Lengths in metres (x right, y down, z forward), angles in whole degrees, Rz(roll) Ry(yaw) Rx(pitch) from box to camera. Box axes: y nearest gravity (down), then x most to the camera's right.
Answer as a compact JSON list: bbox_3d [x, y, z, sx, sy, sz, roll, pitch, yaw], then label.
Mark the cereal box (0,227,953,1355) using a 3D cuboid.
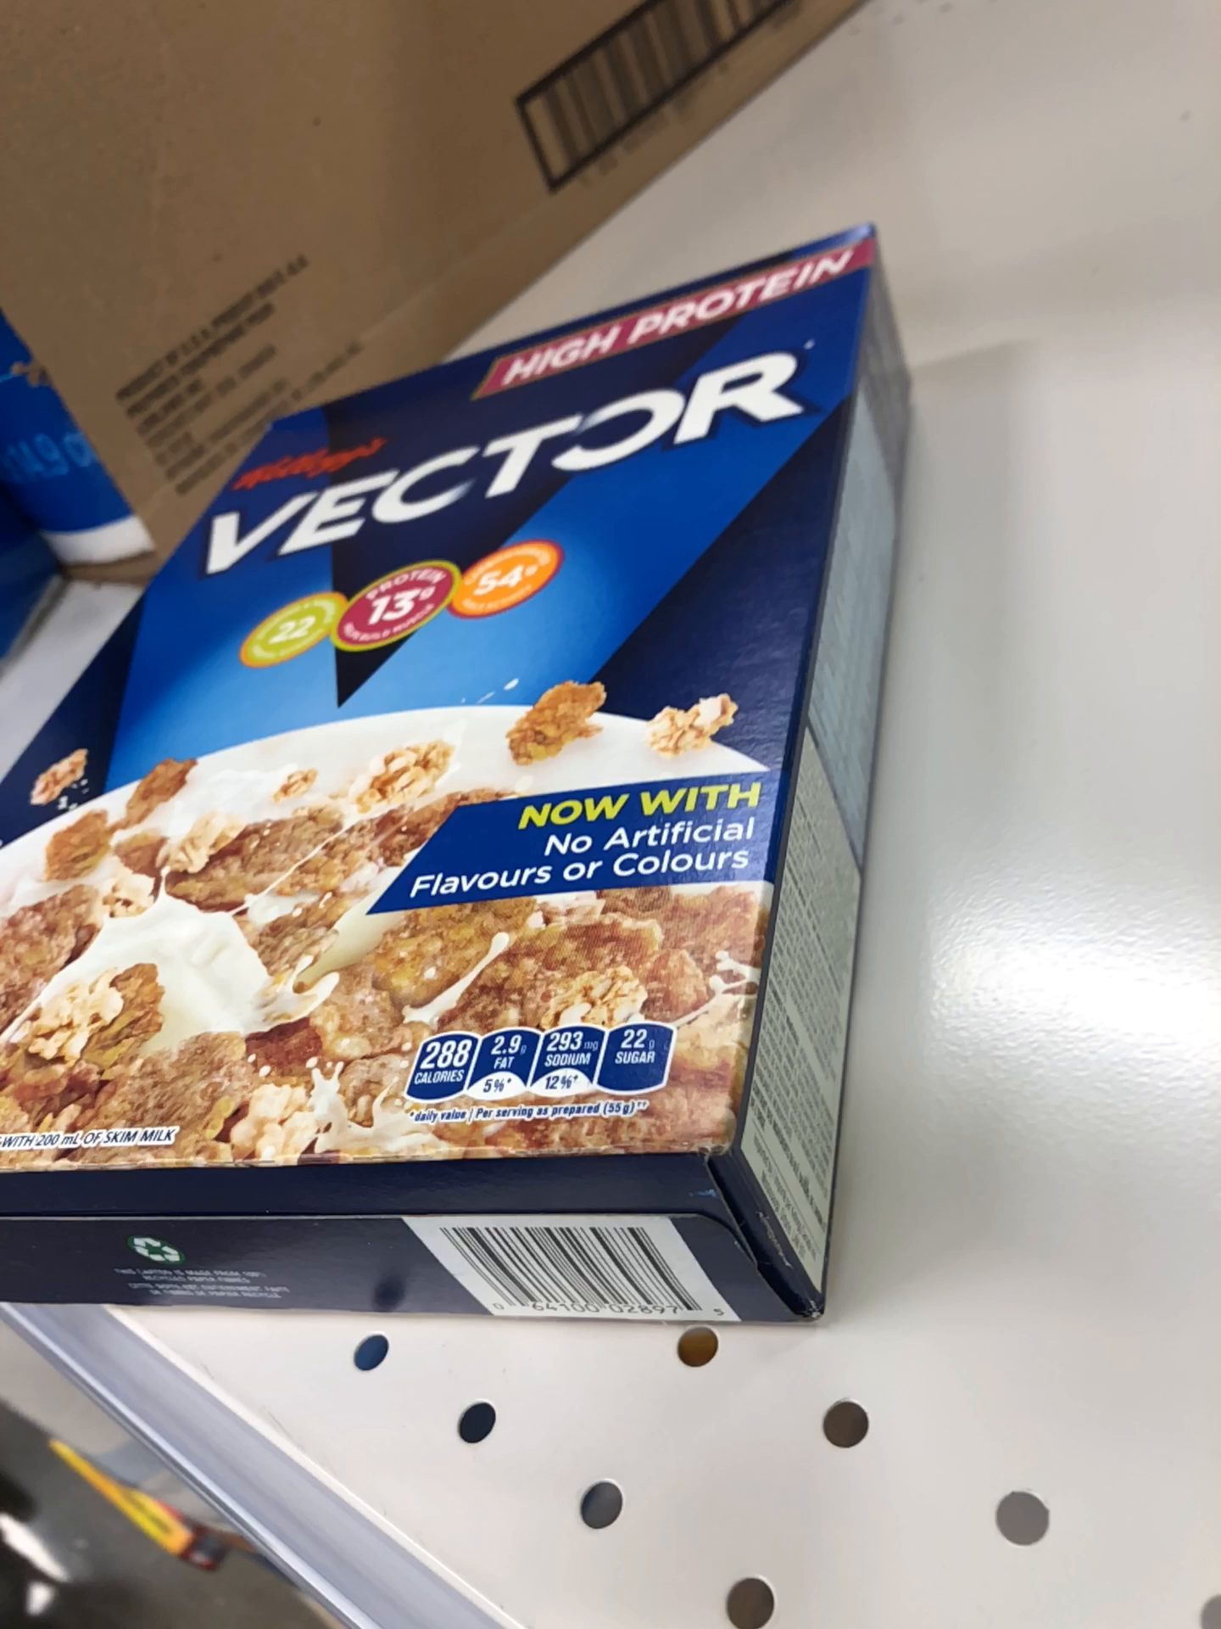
[{"bbox_3d":[-0.037,-0.028,0.321,0.210,0.050,0.291,-8,39,24],"label":"cereal box"}]
